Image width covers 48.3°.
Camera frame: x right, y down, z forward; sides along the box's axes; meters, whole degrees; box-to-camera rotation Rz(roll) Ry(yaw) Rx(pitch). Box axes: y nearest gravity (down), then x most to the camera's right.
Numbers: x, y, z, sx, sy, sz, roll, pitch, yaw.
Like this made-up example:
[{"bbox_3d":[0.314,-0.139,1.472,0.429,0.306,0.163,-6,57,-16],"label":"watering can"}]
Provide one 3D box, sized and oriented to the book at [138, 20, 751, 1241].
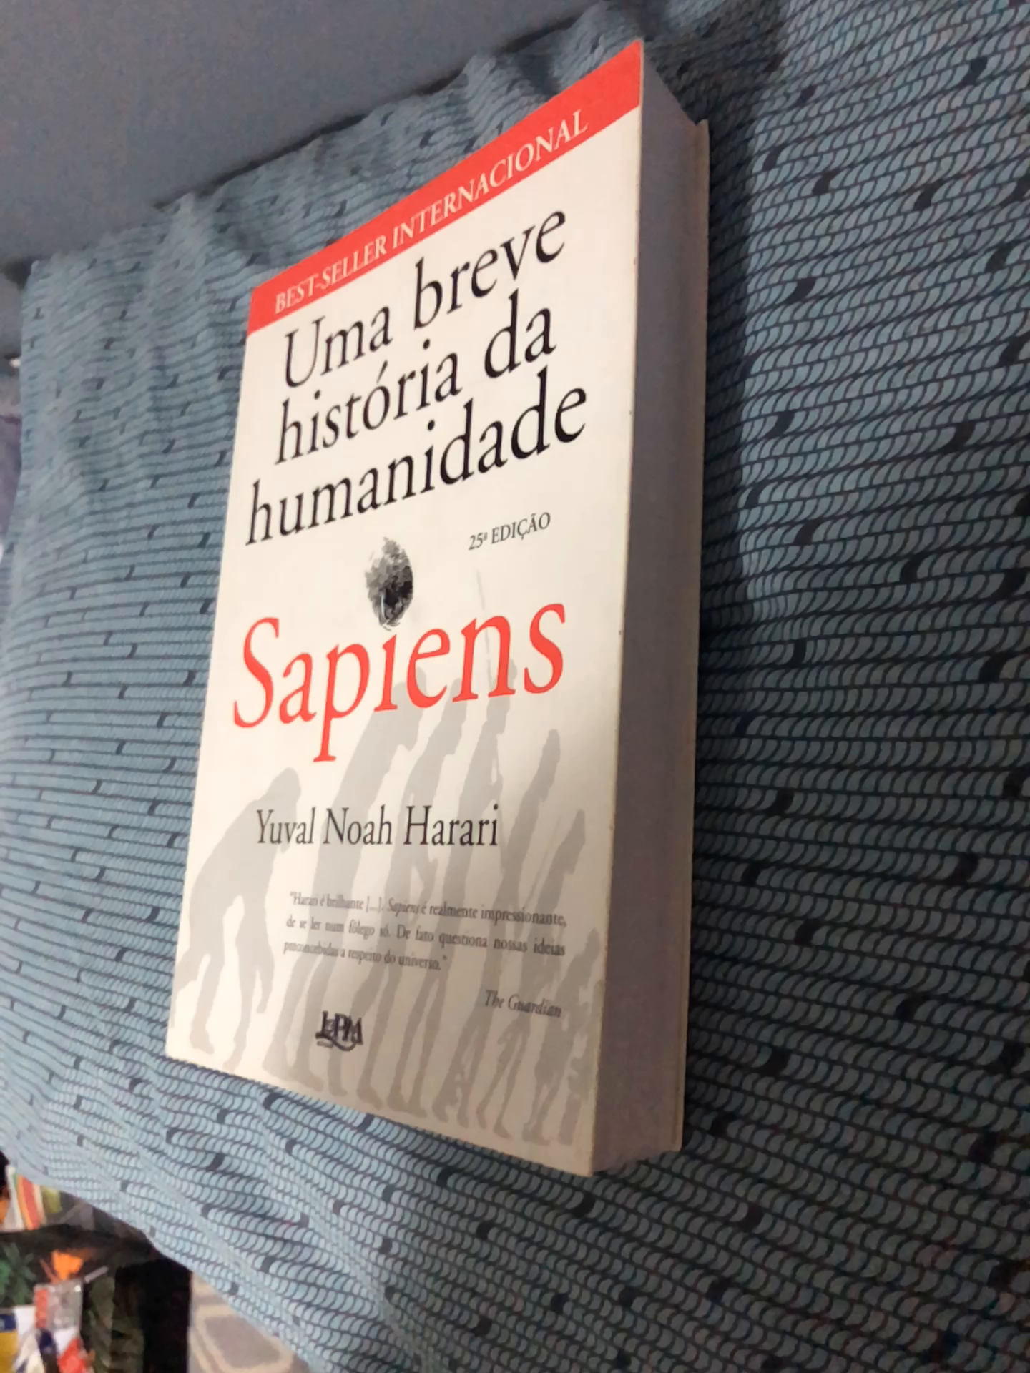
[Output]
[{"bbox_3d":[-0.023,-0.012,0.288,0.161,0.040,0.240,-8,74,44],"label":"book"}]
